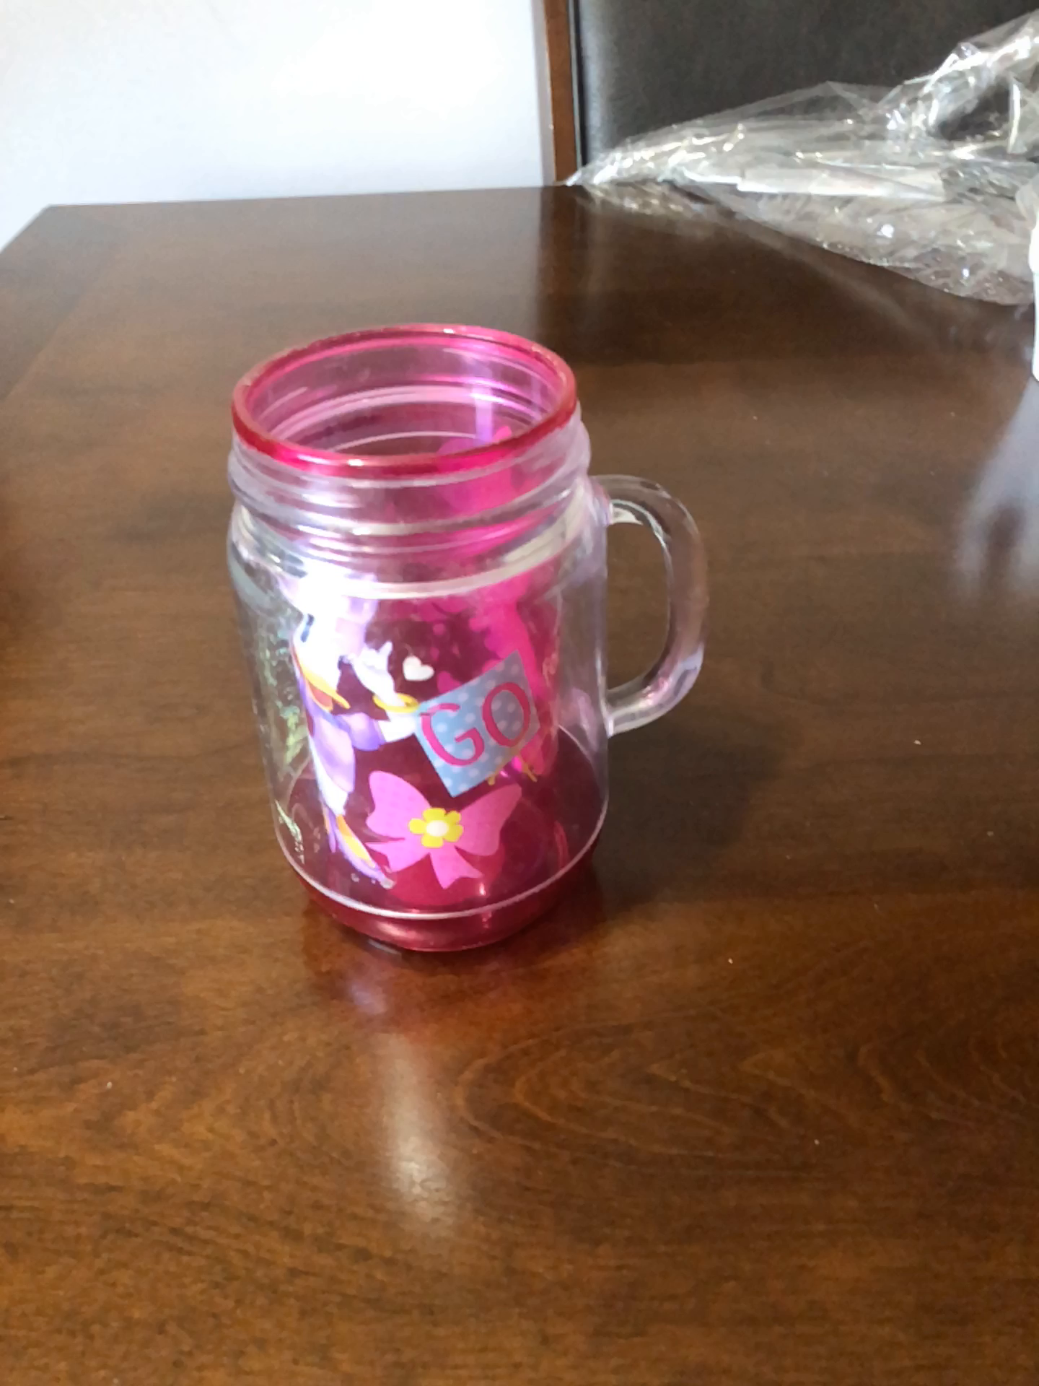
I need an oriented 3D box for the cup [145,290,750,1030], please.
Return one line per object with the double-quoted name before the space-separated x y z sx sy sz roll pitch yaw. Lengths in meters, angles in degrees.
"cup" -0.017 -0.009 0.316 0.120 0.159 0.080 -16 39 -18
